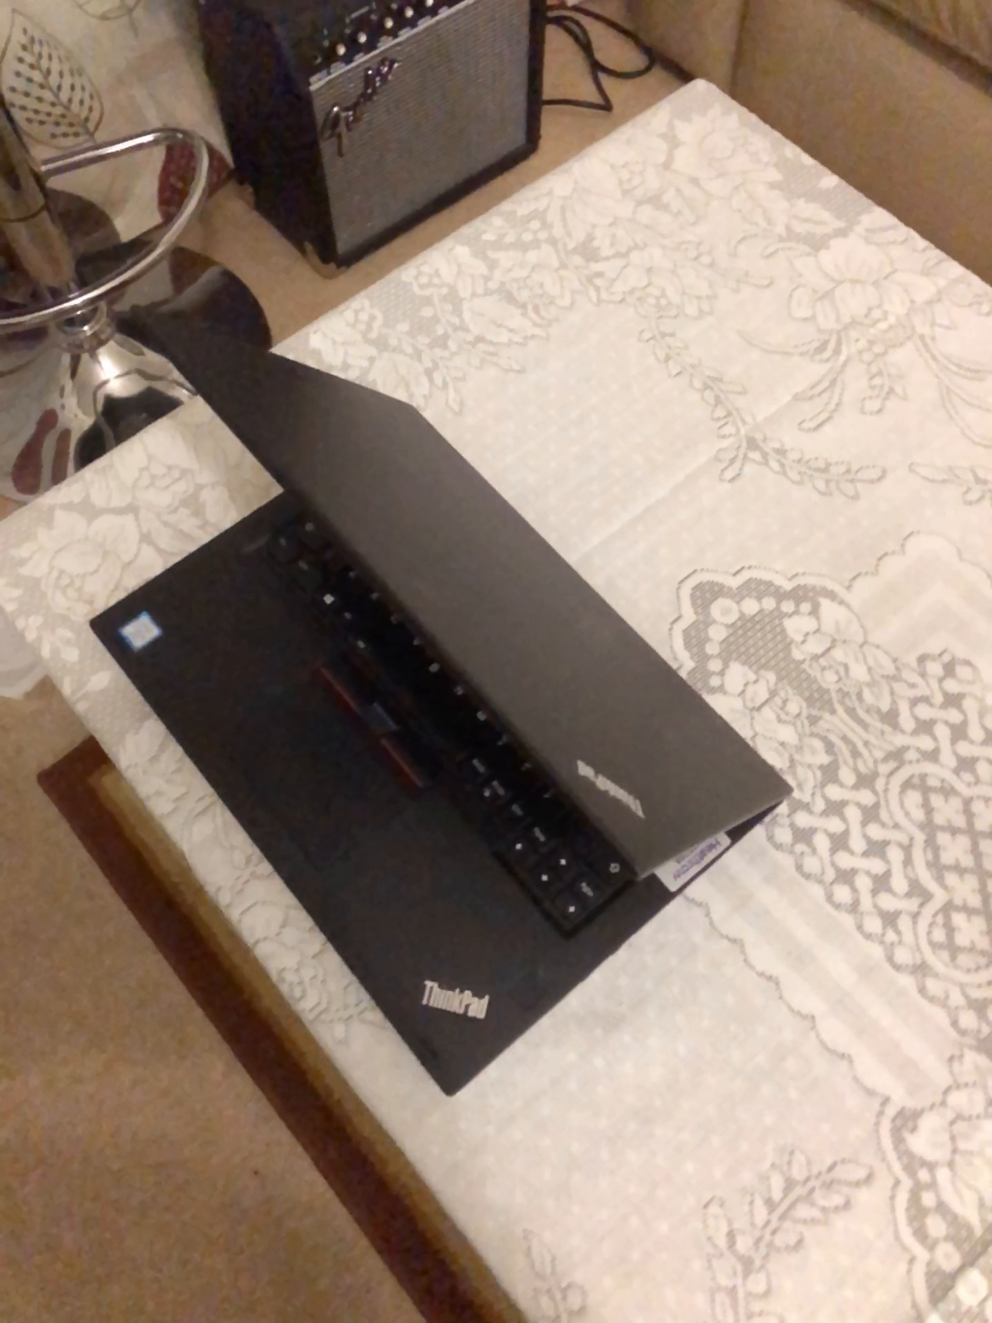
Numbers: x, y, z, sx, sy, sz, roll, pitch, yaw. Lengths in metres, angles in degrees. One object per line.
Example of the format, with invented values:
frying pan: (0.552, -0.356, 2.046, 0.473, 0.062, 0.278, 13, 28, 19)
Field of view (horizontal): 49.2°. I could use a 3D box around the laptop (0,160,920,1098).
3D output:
laptop: (-0.034, -0.016, 0.482, 0.220, 0.174, 0.309, -37, 69, -14)
